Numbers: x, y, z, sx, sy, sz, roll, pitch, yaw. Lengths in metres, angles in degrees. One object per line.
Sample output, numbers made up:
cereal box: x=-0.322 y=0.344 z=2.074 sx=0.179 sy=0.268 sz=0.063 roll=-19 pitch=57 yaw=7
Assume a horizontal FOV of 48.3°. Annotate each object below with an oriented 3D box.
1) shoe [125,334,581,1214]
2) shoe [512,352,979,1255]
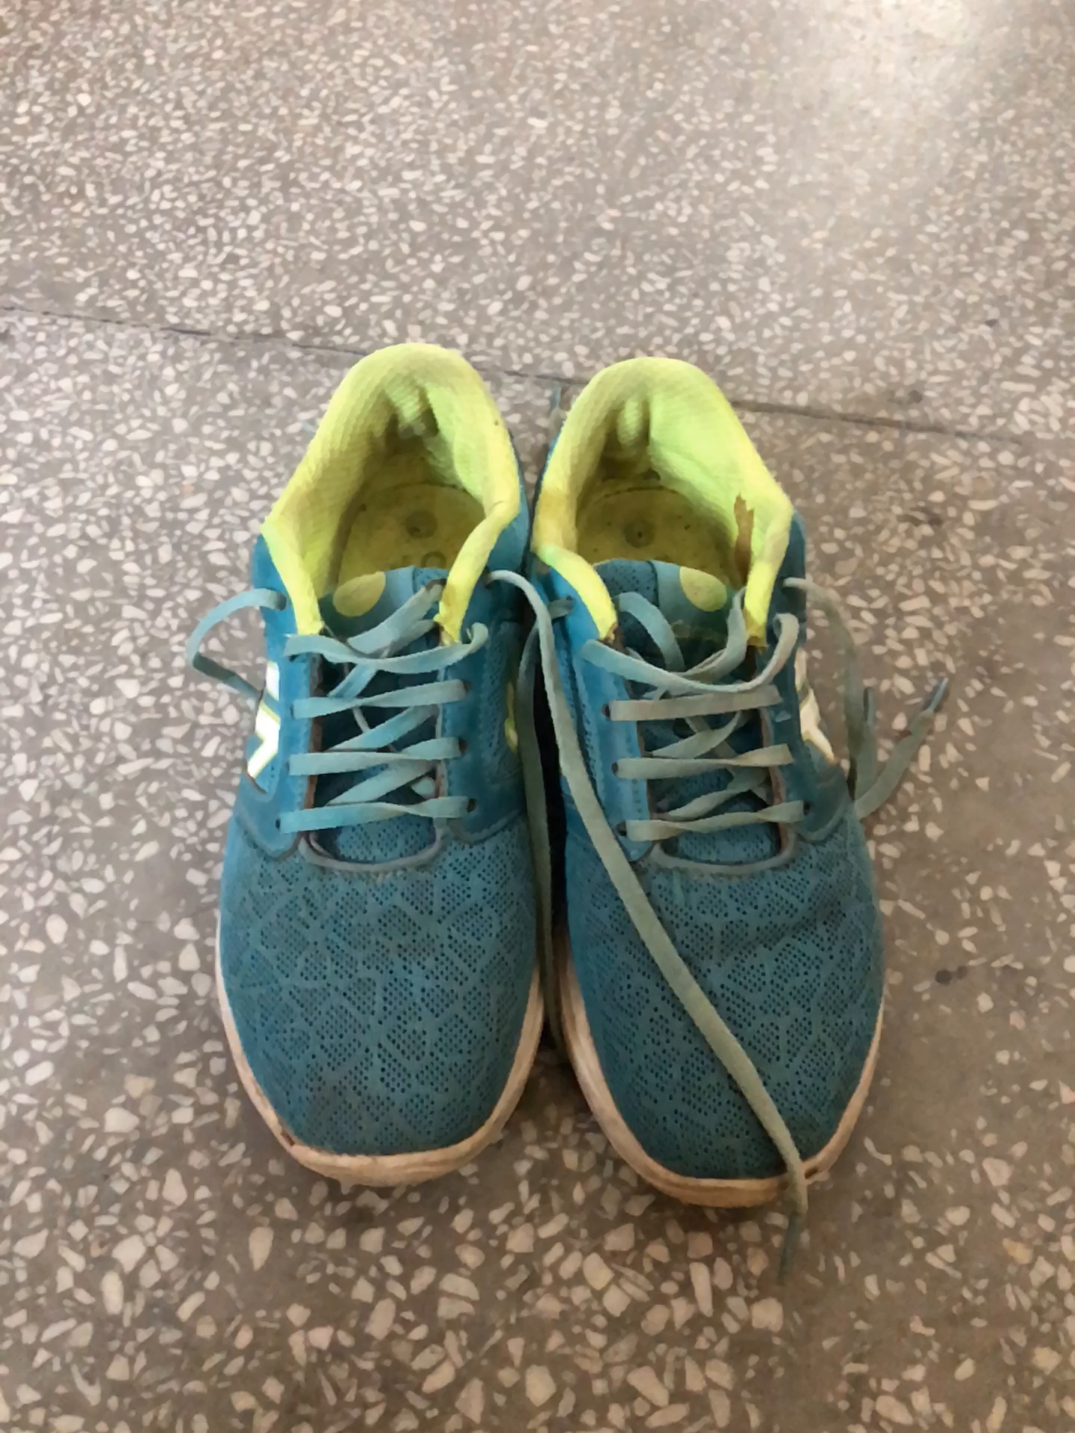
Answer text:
shoe: x=-0.035 y=0.005 z=0.342 sx=0.090 sy=0.080 sz=0.240 roll=2 pitch=57 yaw=1
shoe: x=0.045 y=0.017 z=0.349 sx=0.100 sy=0.080 sz=0.250 roll=0 pitch=63 yaw=0
